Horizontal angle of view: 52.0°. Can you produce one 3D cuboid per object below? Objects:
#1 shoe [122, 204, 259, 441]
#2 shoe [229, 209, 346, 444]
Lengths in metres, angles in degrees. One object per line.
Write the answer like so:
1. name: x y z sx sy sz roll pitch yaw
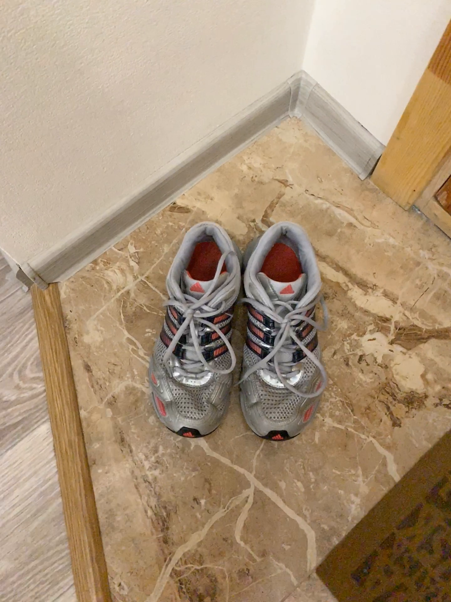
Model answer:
1. shoe: -0.030 0.025 0.519 0.110 0.090 0.240 6 71 2
2. shoe: 0.069 0.029 0.520 0.110 0.090 0.240 5 71 2
